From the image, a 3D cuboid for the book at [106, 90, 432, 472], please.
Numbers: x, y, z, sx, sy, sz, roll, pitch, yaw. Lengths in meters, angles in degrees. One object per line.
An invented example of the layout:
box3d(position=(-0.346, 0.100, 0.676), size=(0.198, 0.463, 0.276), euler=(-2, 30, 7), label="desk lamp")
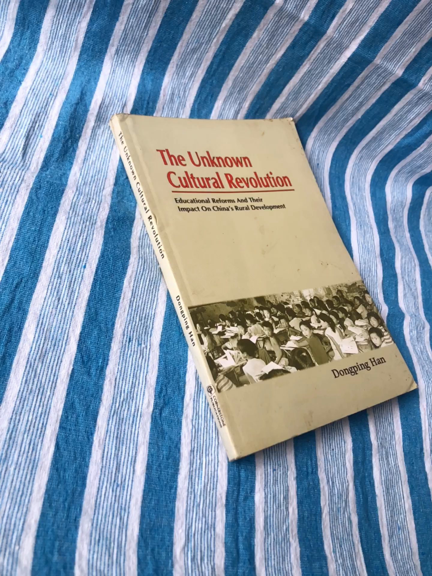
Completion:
box3d(position=(0.033, -0.029, 0.290), size=(0.141, 0.020, 0.230), euler=(-10, 65, -26), label="book")
